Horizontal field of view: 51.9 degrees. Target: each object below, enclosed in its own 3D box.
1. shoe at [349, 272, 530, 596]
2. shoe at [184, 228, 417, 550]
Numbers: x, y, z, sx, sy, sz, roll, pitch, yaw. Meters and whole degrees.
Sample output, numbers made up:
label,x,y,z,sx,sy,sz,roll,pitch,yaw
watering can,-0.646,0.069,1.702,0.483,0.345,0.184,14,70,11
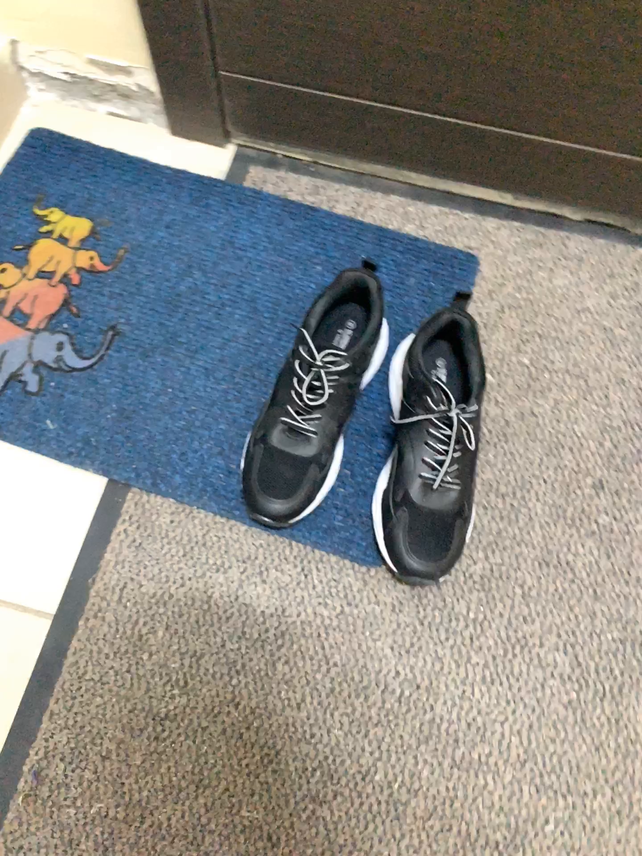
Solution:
label,x,y,z,sx,sy,sz,roll,pitch,yaw
shoe,0.107,0.004,0.601,0.110,0.100,0.260,12,68,4
shoe,-0.011,-0.038,0.613,0.110,0.100,0.260,20,69,8
